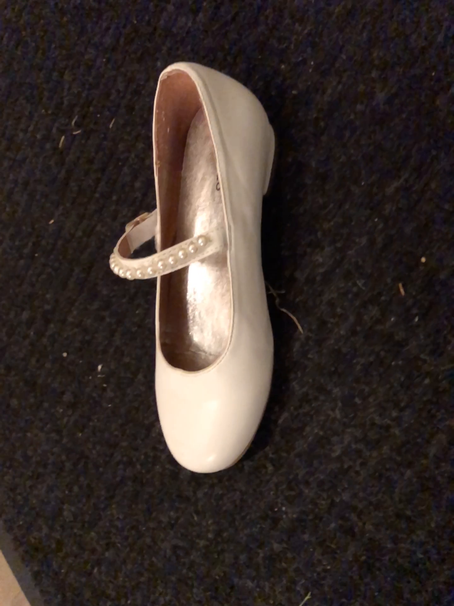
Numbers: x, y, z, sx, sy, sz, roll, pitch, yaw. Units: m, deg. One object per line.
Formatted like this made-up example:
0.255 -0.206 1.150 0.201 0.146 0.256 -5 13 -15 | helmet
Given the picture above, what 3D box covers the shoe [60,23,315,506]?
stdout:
-0.016 -0.016 0.264 0.080 0.080 0.200 3 85 35 | shoe
